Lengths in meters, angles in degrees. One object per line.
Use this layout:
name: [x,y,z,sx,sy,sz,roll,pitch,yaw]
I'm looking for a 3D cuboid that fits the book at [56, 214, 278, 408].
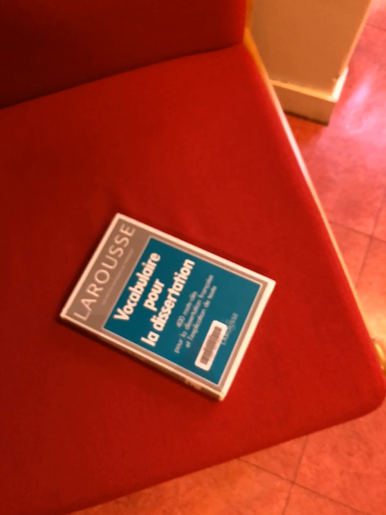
book: [-0.028,0.054,0.477,0.198,0.030,0.137,24,78,10]
